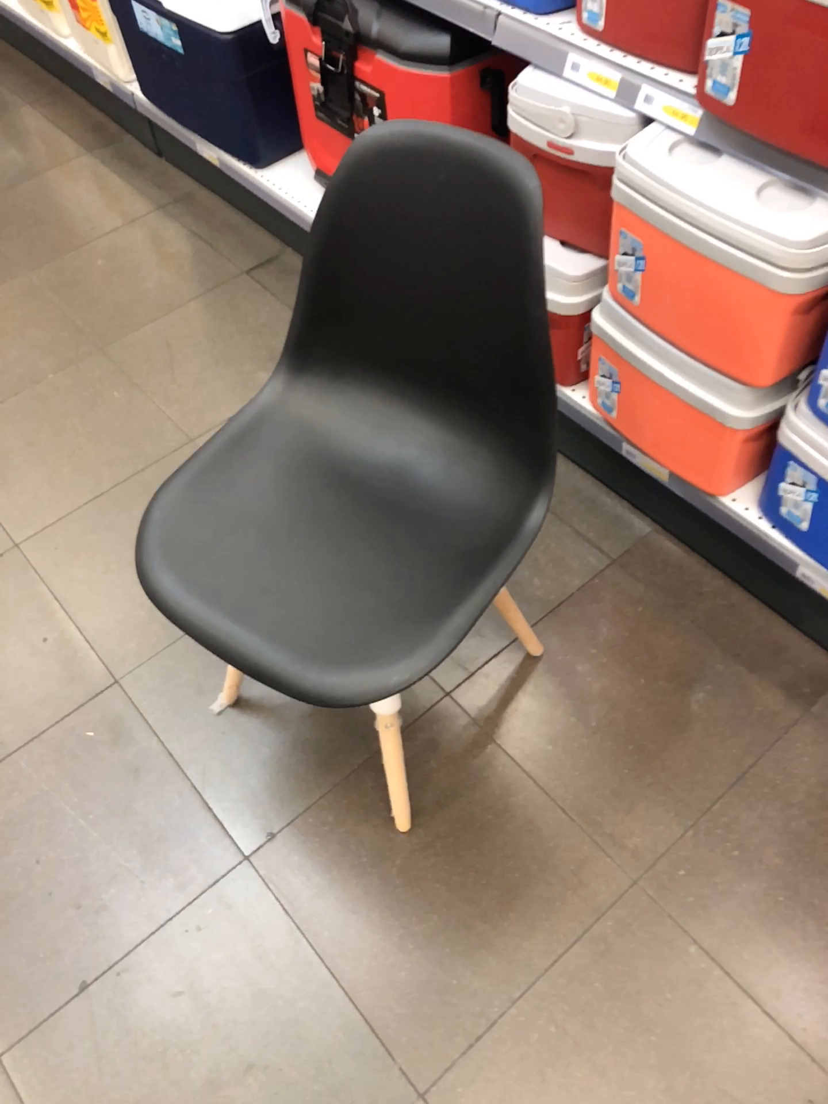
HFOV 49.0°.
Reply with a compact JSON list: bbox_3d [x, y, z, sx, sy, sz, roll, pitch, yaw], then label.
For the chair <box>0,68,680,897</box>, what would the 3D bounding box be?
[{"bbox_3d":[-0.080,-0.063,1.135,0.501,0.726,0.552,29,60,25],"label":"chair"}]
